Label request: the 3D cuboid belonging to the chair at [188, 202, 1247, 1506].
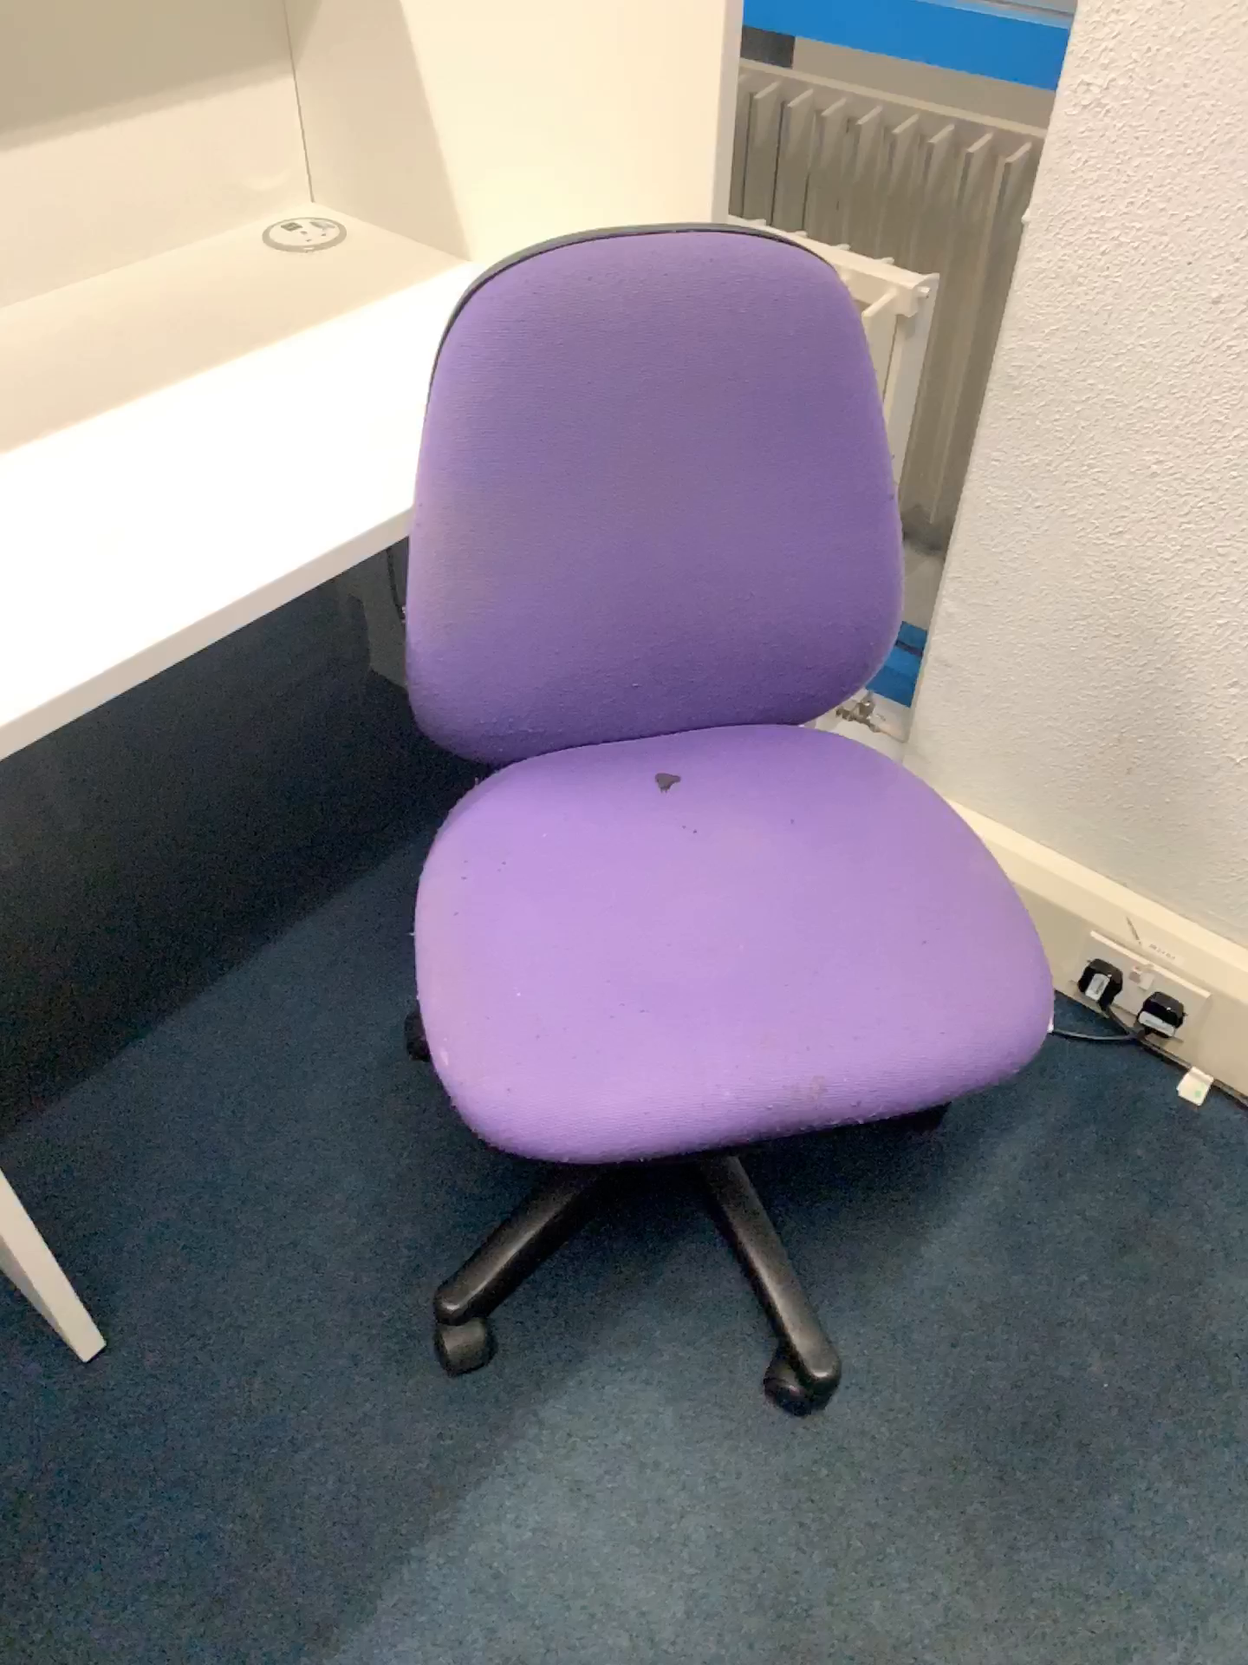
[{"bbox_3d":[0.082,0.028,1.125,0.690,0.862,0.656,-7,45,-9],"label":"chair"}]
